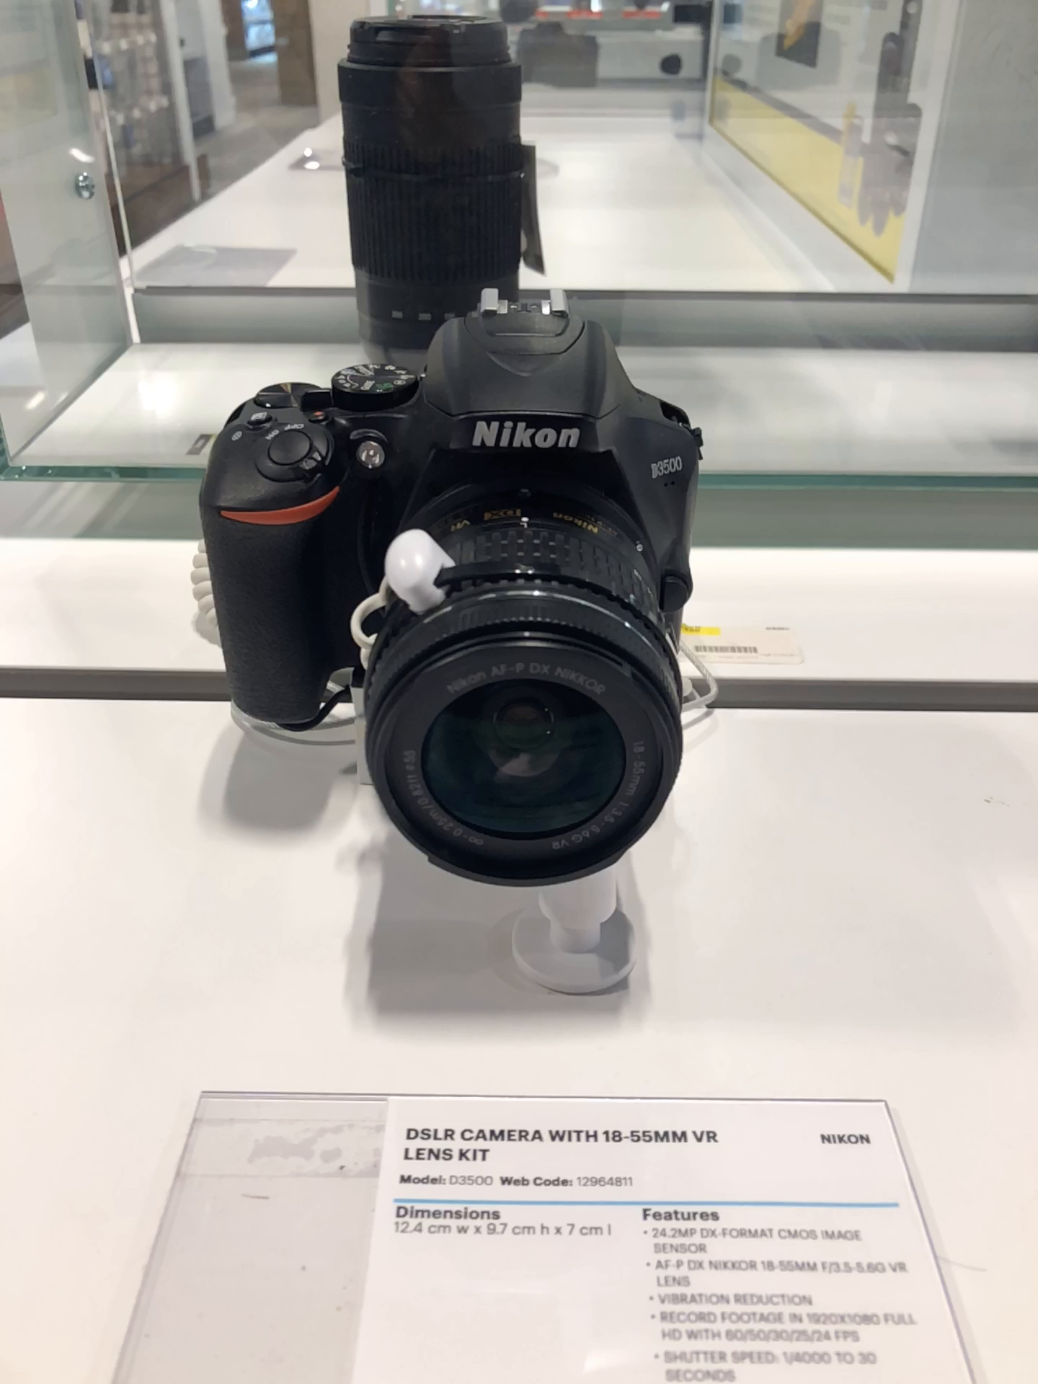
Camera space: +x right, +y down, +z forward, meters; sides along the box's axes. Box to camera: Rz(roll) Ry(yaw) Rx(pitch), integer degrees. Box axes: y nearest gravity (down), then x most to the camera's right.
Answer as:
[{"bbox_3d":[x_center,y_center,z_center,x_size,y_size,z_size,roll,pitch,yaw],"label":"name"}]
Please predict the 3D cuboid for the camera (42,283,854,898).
[{"bbox_3d":[-0.013,-0.032,0.264,0.131,0.089,0.131,-1,32,-1],"label":"camera"}]
